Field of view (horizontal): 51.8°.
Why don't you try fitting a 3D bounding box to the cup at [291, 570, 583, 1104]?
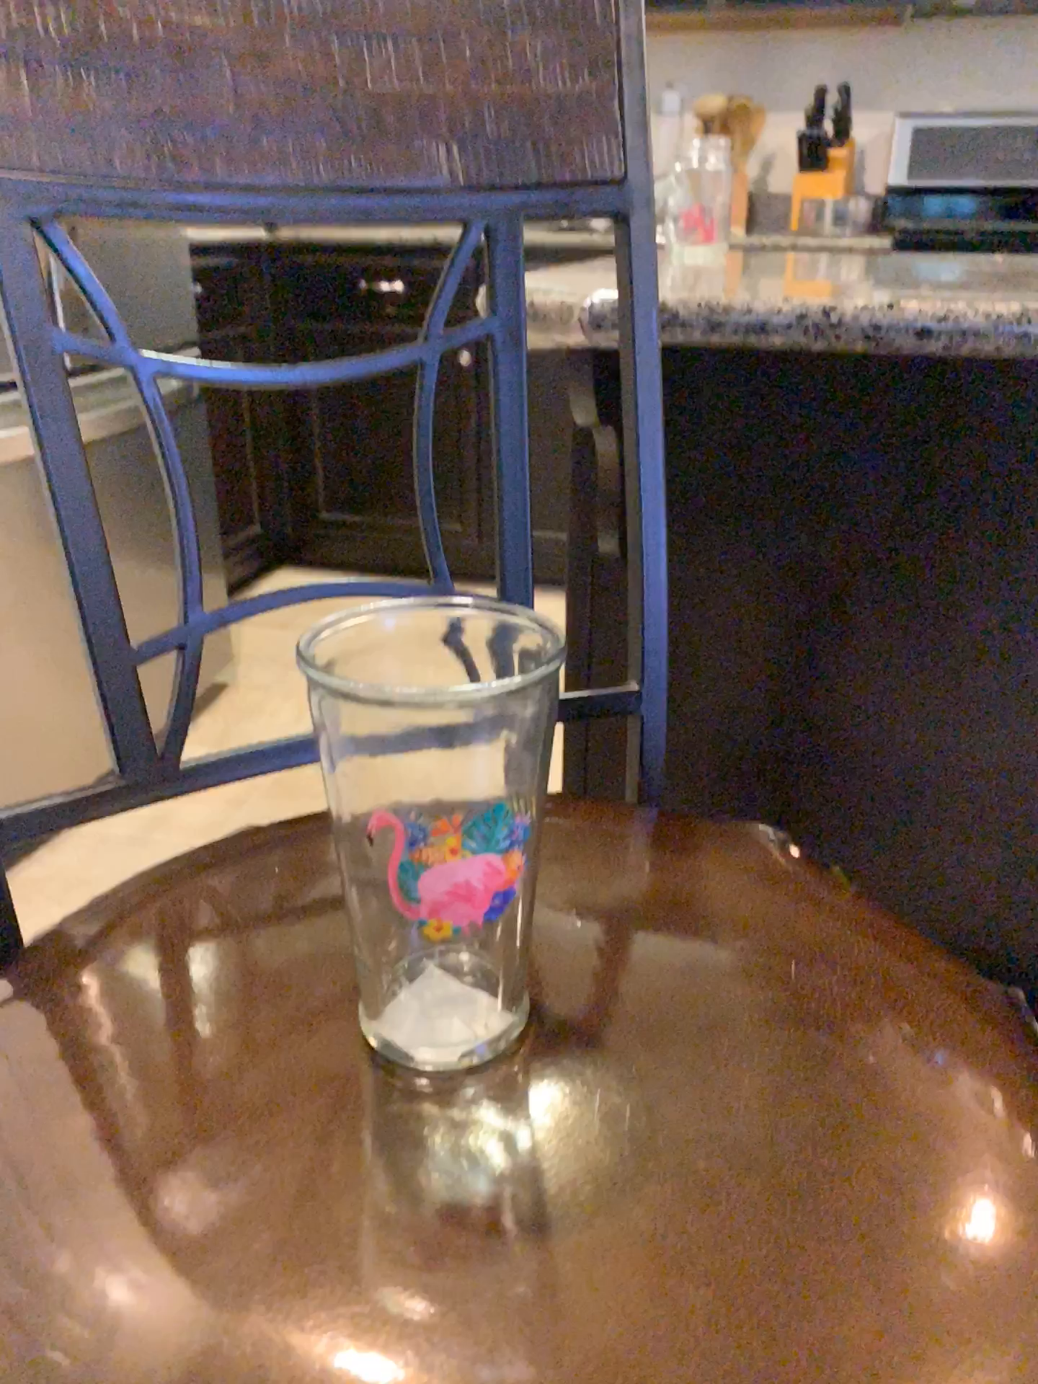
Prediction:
[{"bbox_3d":[-0.030,0.045,0.357,0.080,0.149,0.081,1,23,0],"label":"cup"}]
